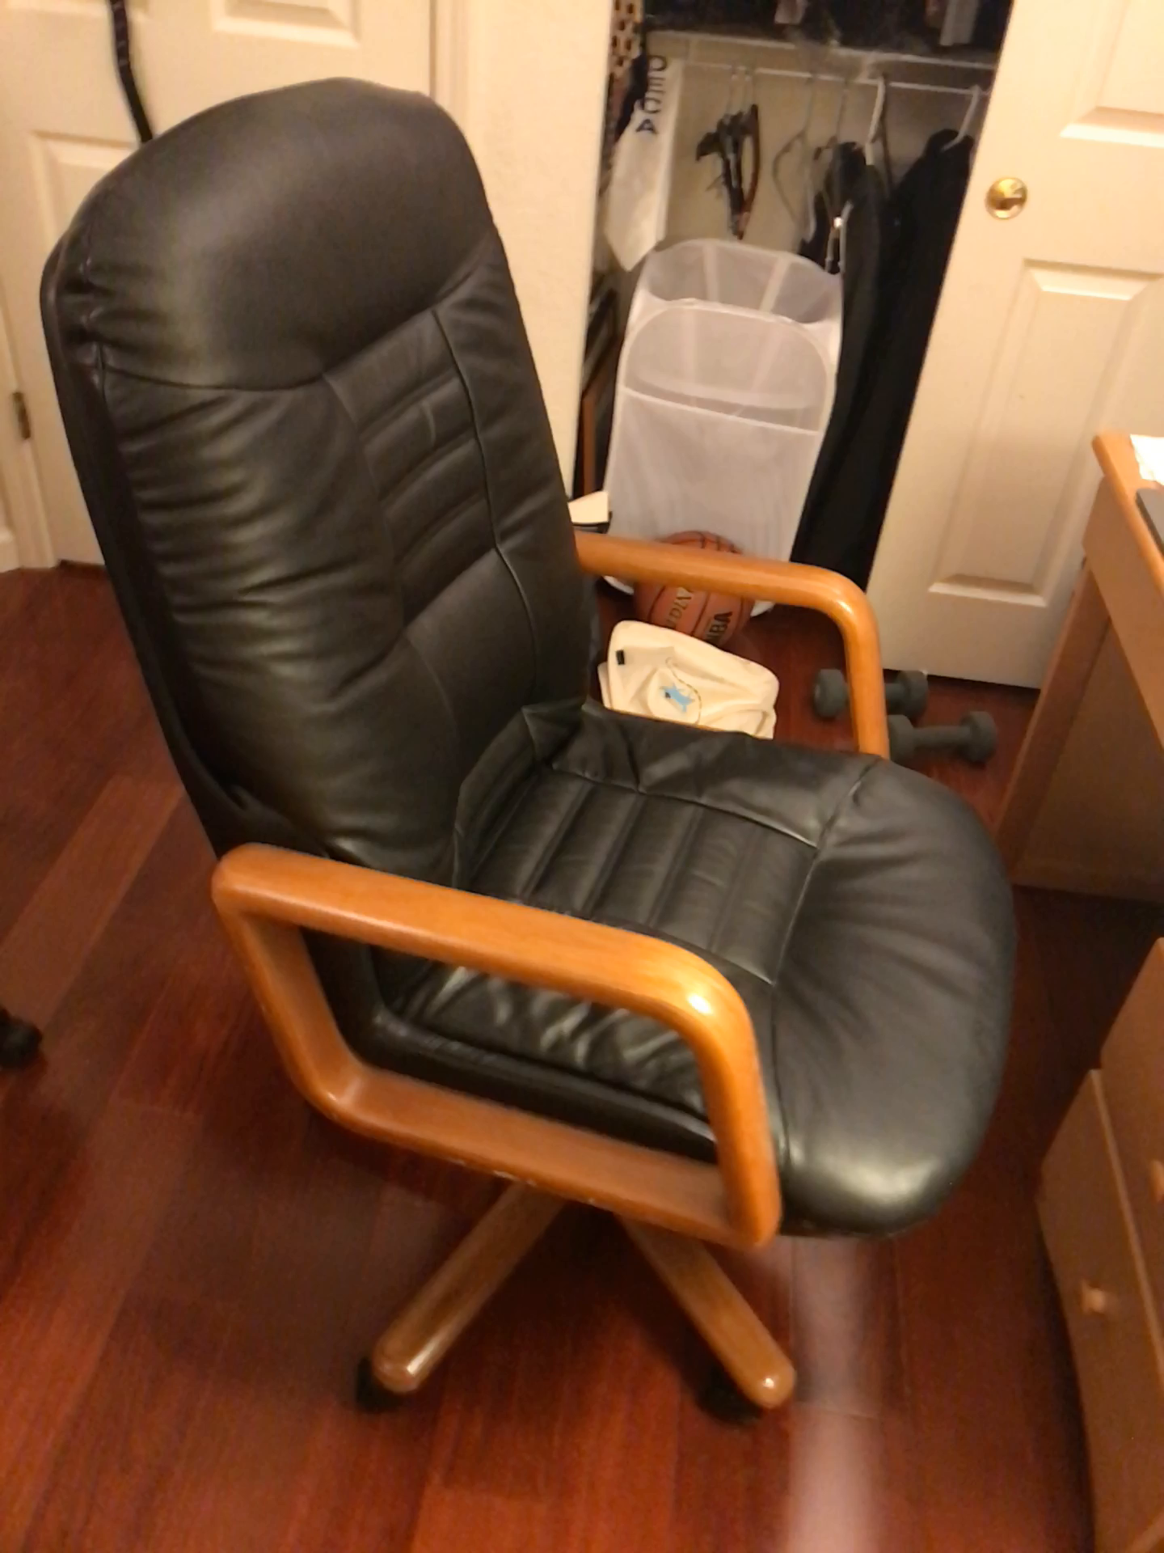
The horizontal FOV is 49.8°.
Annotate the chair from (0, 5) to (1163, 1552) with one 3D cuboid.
[{"bbox_3d":[0.079,-0.011,1.294,0.850,1.141,0.998,17,41,13],"label":"chair"}]
